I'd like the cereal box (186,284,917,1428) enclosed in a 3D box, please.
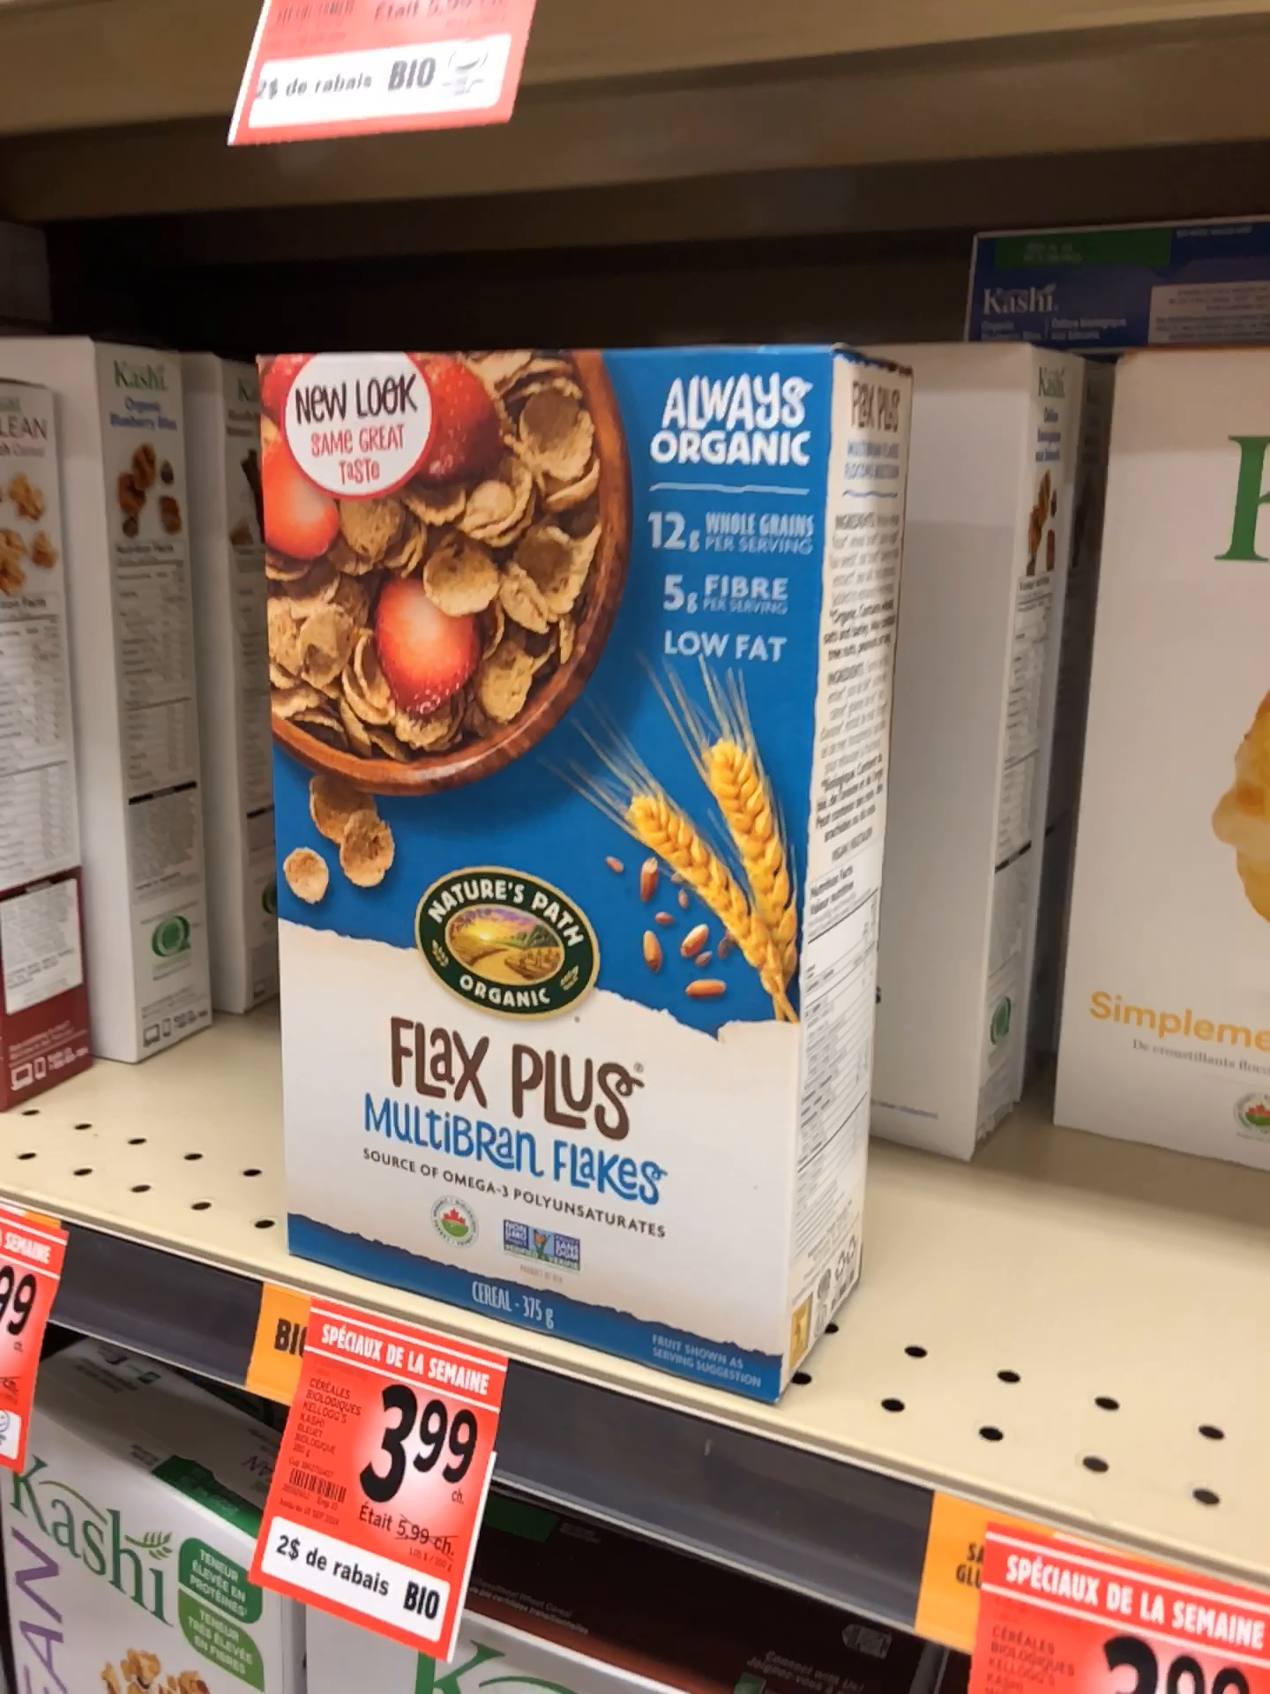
[{"bbox_3d":[-0.024,-0.004,0.385,0.170,0.269,0.070,8,17,26],"label":"cereal box"}]
